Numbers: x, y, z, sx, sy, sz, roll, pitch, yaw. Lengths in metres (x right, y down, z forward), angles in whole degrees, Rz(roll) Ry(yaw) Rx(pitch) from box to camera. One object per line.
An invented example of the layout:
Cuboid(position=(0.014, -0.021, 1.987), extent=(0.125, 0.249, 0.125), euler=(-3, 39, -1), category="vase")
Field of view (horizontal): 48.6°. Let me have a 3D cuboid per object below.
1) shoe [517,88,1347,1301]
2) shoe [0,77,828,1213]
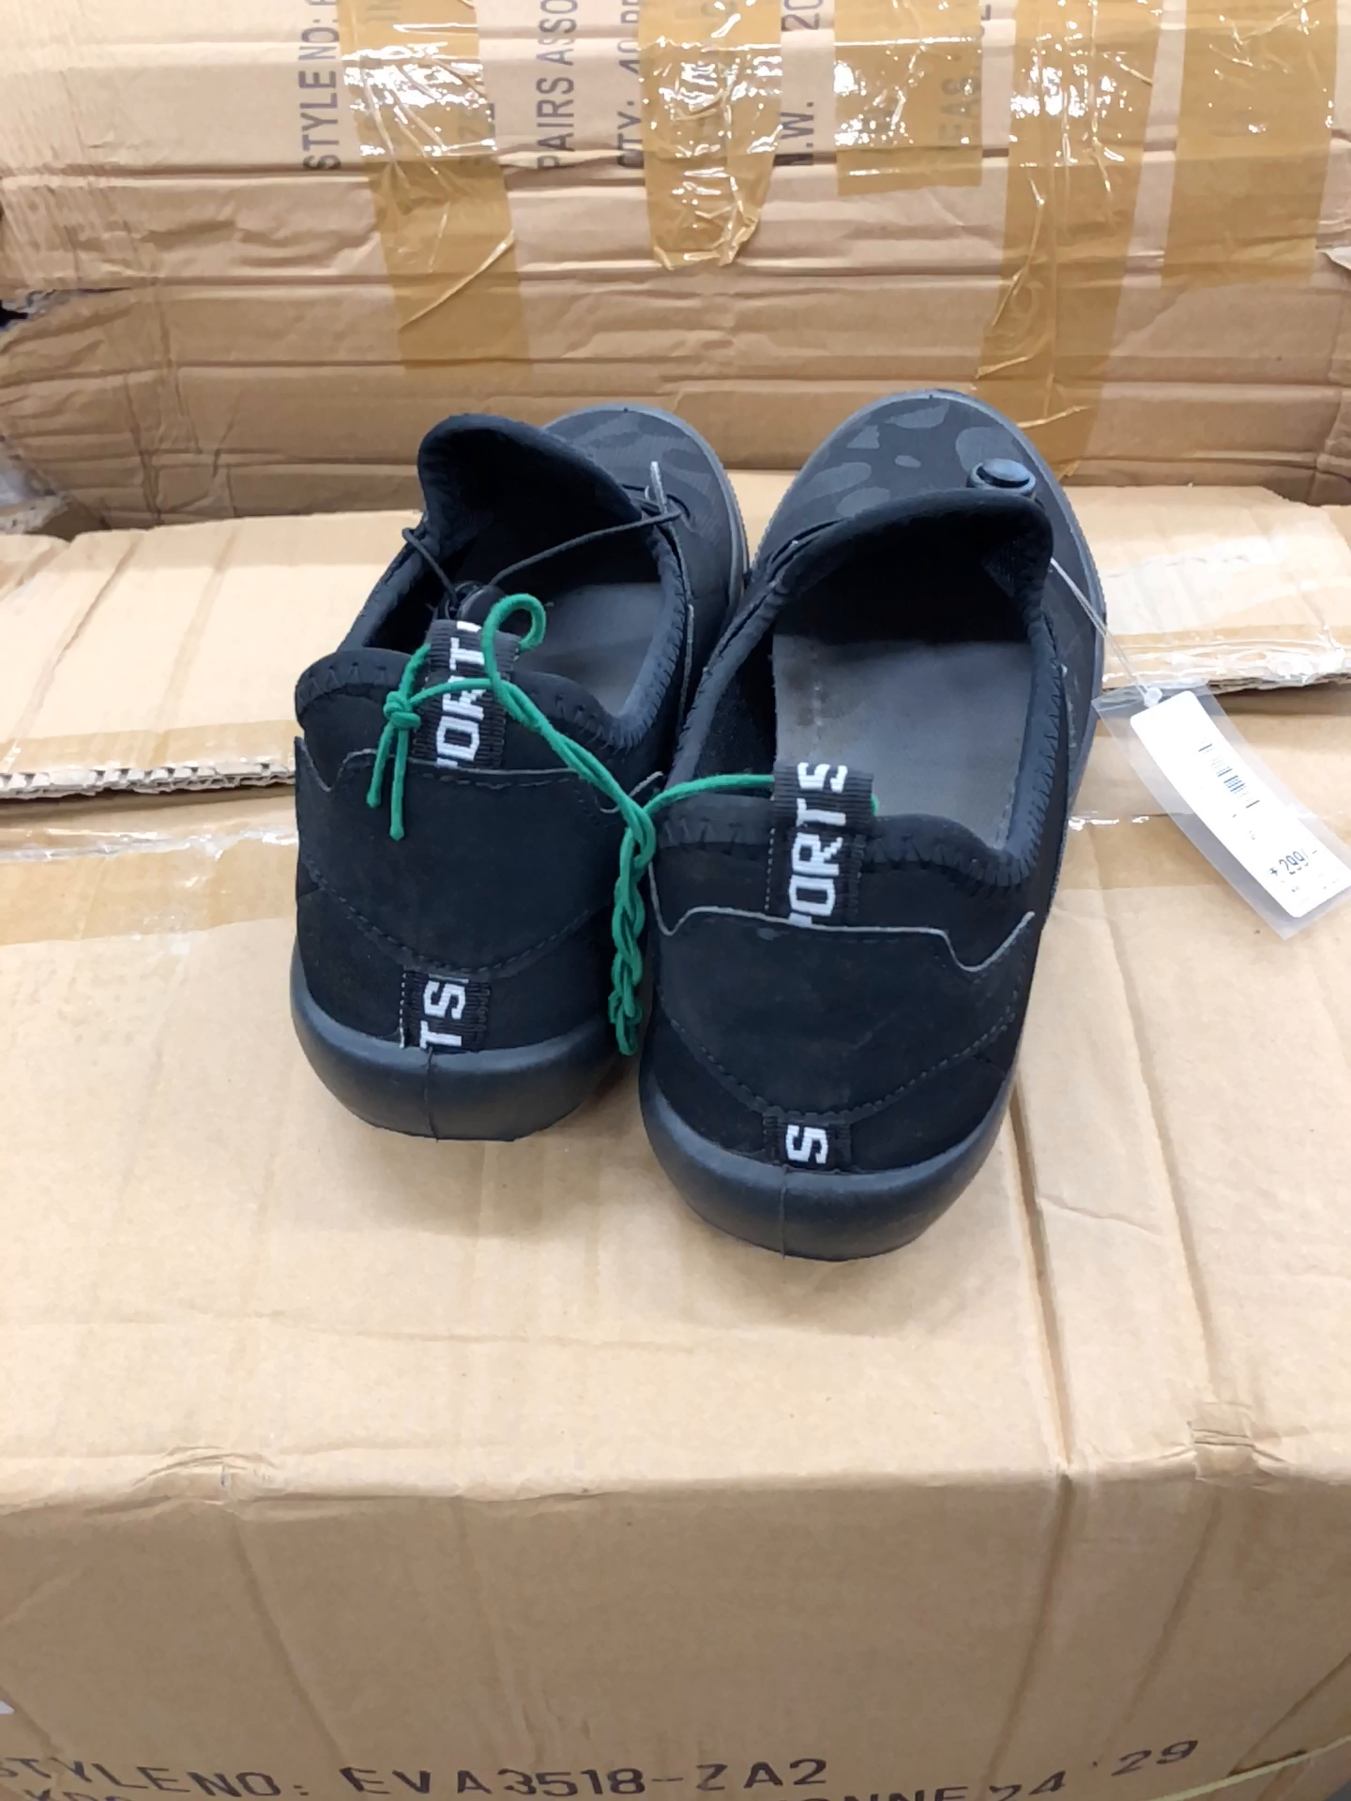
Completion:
Cuboid(position=(0.060, -0.082, 0.377), extent=(0.120, 0.129, 0.322), euler=(5, 45, 7), category="shoe")
Cuboid(position=(-0.032, -0.093, 0.387), extent=(0.120, 0.129, 0.312), euler=(4, 45, 6), category="shoe")
